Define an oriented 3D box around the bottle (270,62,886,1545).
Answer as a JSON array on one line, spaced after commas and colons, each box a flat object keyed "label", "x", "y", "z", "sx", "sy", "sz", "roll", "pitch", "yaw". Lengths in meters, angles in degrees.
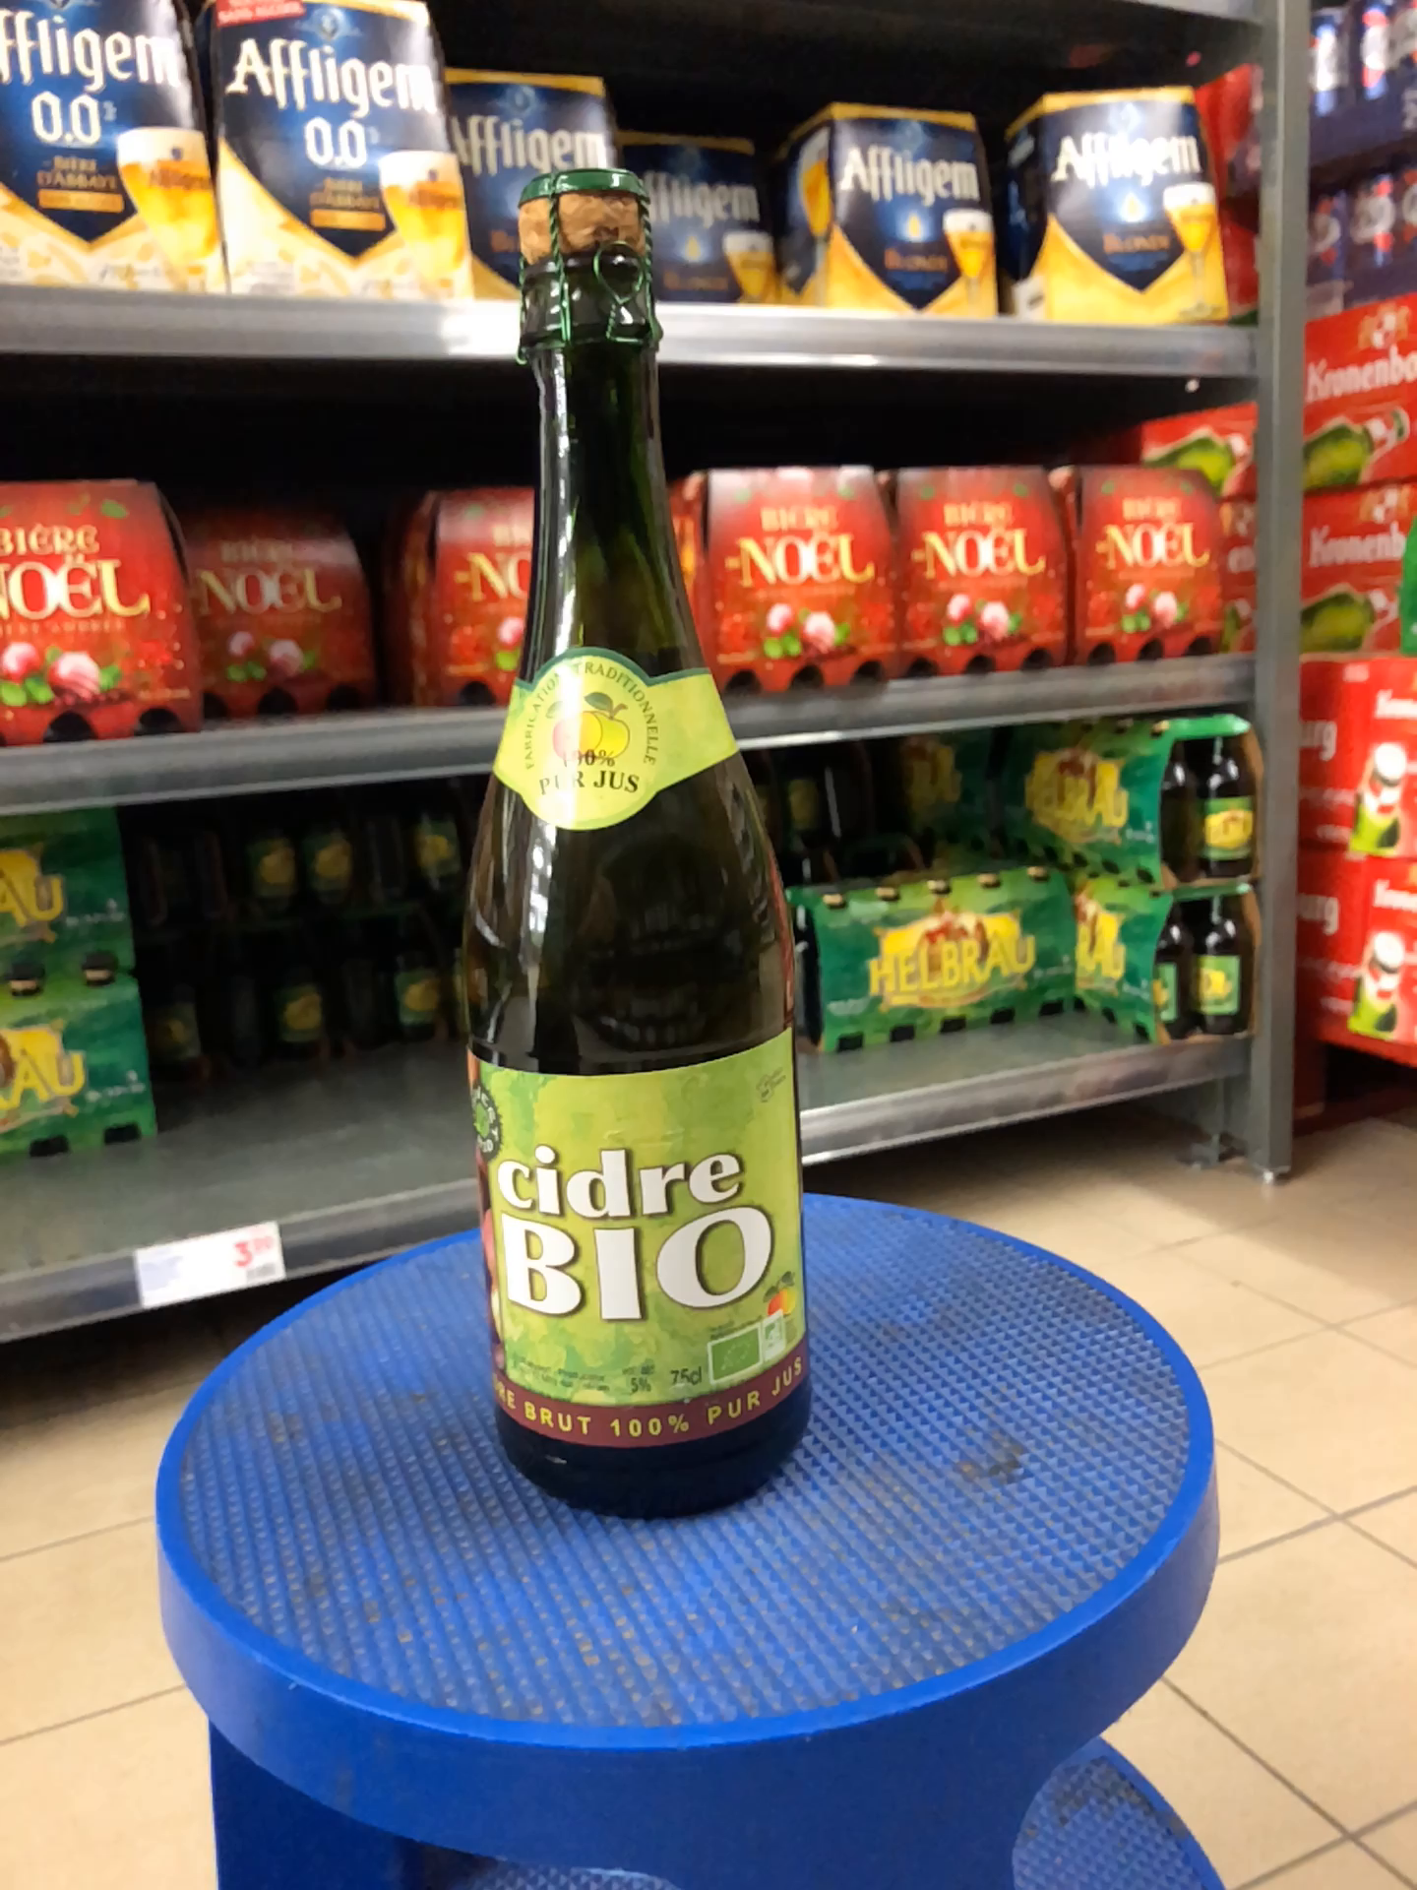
[{"label": "bottle", "x": -0.021, "y": -0.026, "z": 0.365, "sx": 0.090, "sy": 0.289, "sz": 0.090, "roll": -3, "pitch": 10, "yaw": 1}]
